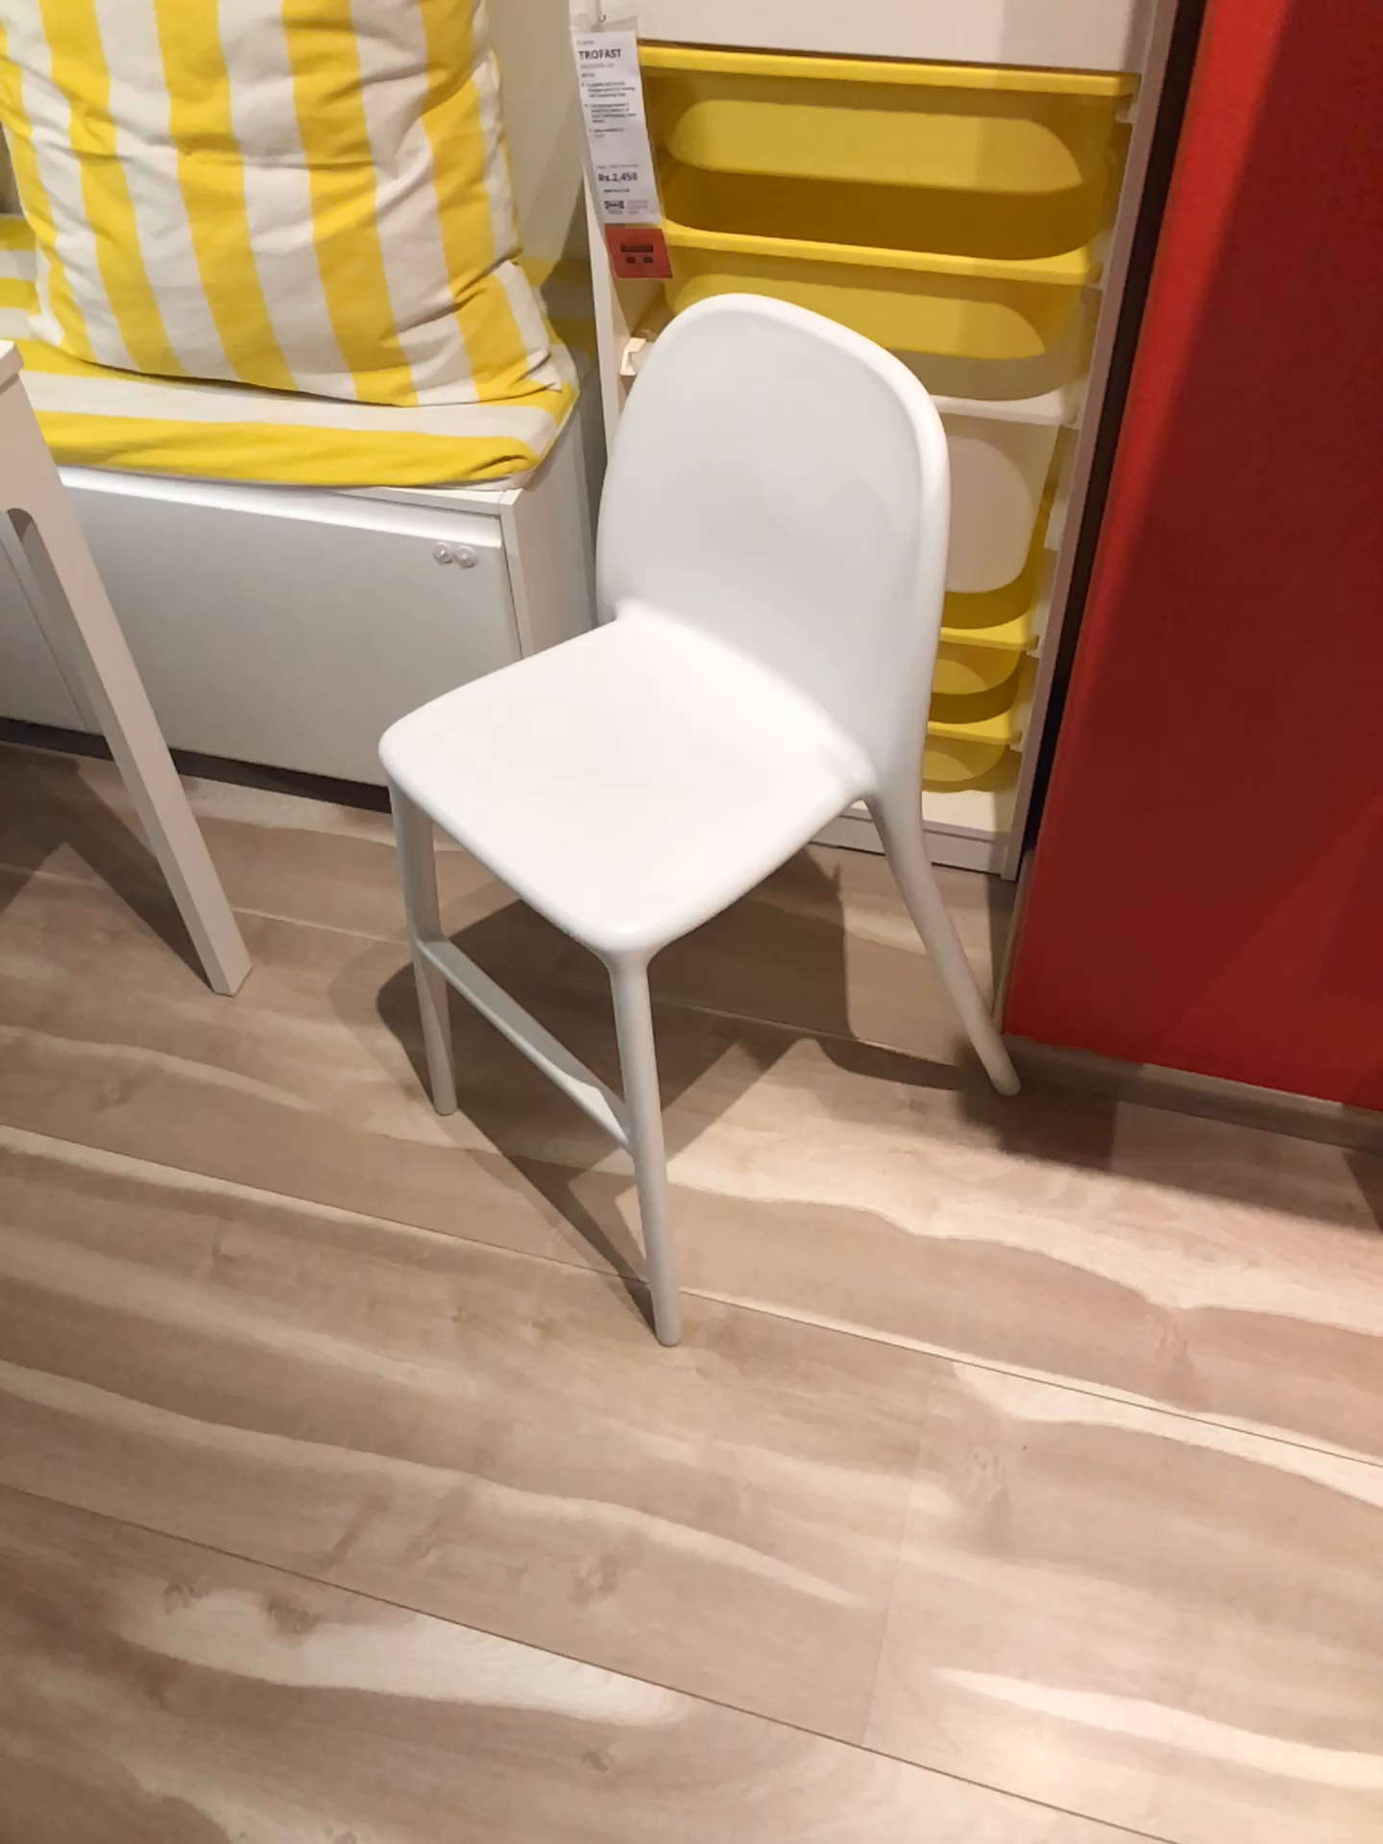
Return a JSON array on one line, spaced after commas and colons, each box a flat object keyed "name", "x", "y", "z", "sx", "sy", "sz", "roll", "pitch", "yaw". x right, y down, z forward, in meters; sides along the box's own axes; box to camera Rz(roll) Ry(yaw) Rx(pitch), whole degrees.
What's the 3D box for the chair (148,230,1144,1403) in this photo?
[{"name": "chair", "x": -0.009, "y": -0.056, "z": 1.216, "sx": 0.461, "sy": 0.706, "sz": 0.422, "roll": -37, "pitch": 57, "yaw": -23}]
